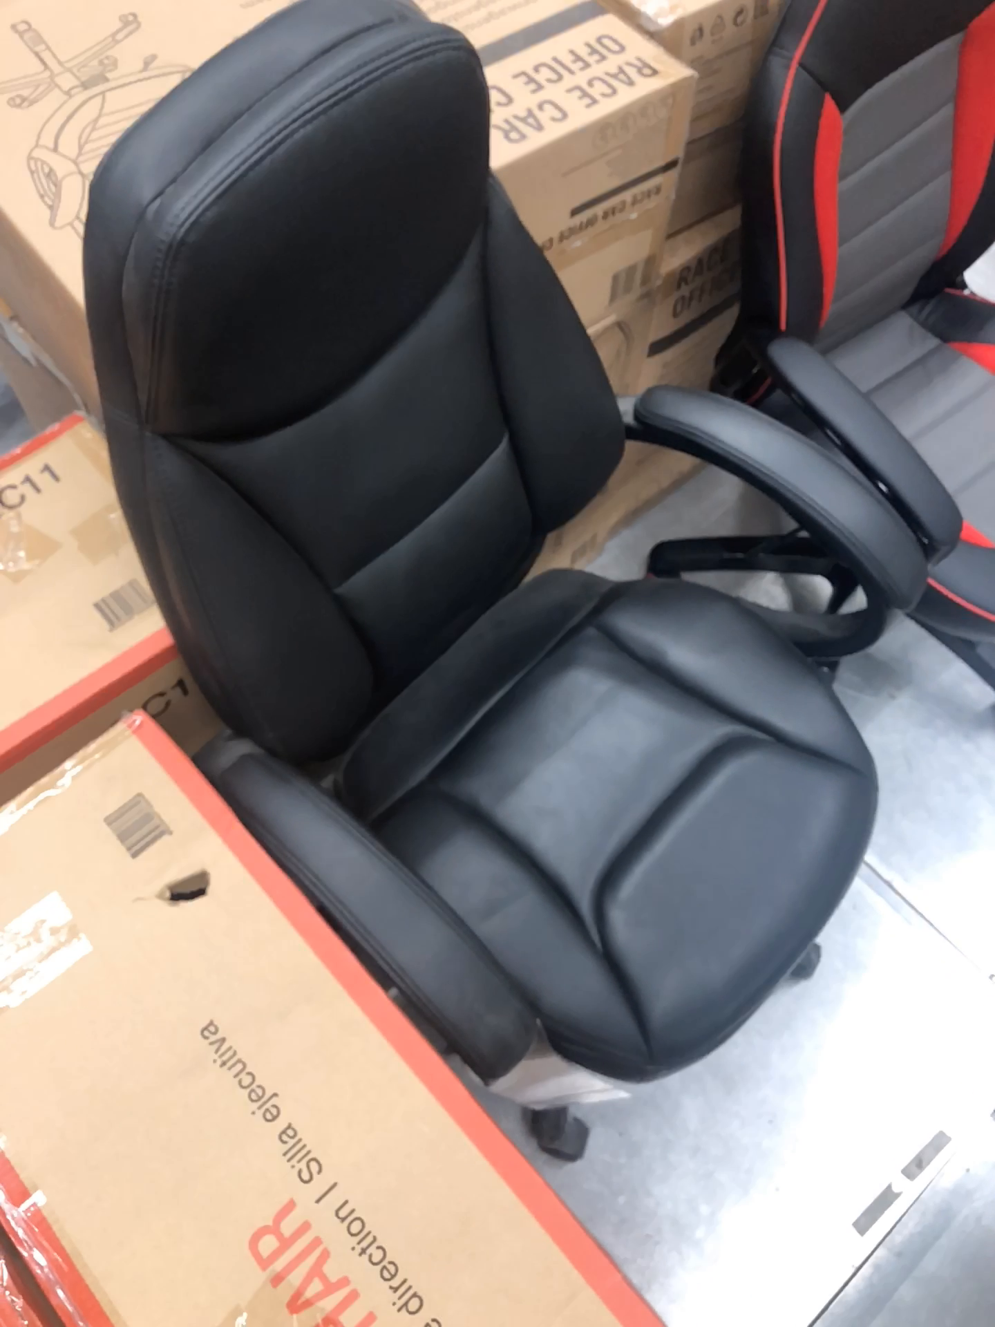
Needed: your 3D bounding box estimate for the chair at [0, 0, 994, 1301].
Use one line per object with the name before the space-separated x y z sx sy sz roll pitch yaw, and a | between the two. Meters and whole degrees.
chair | 0.087 0.035 1.101 0.741 1.066 0.722 36 66 17
